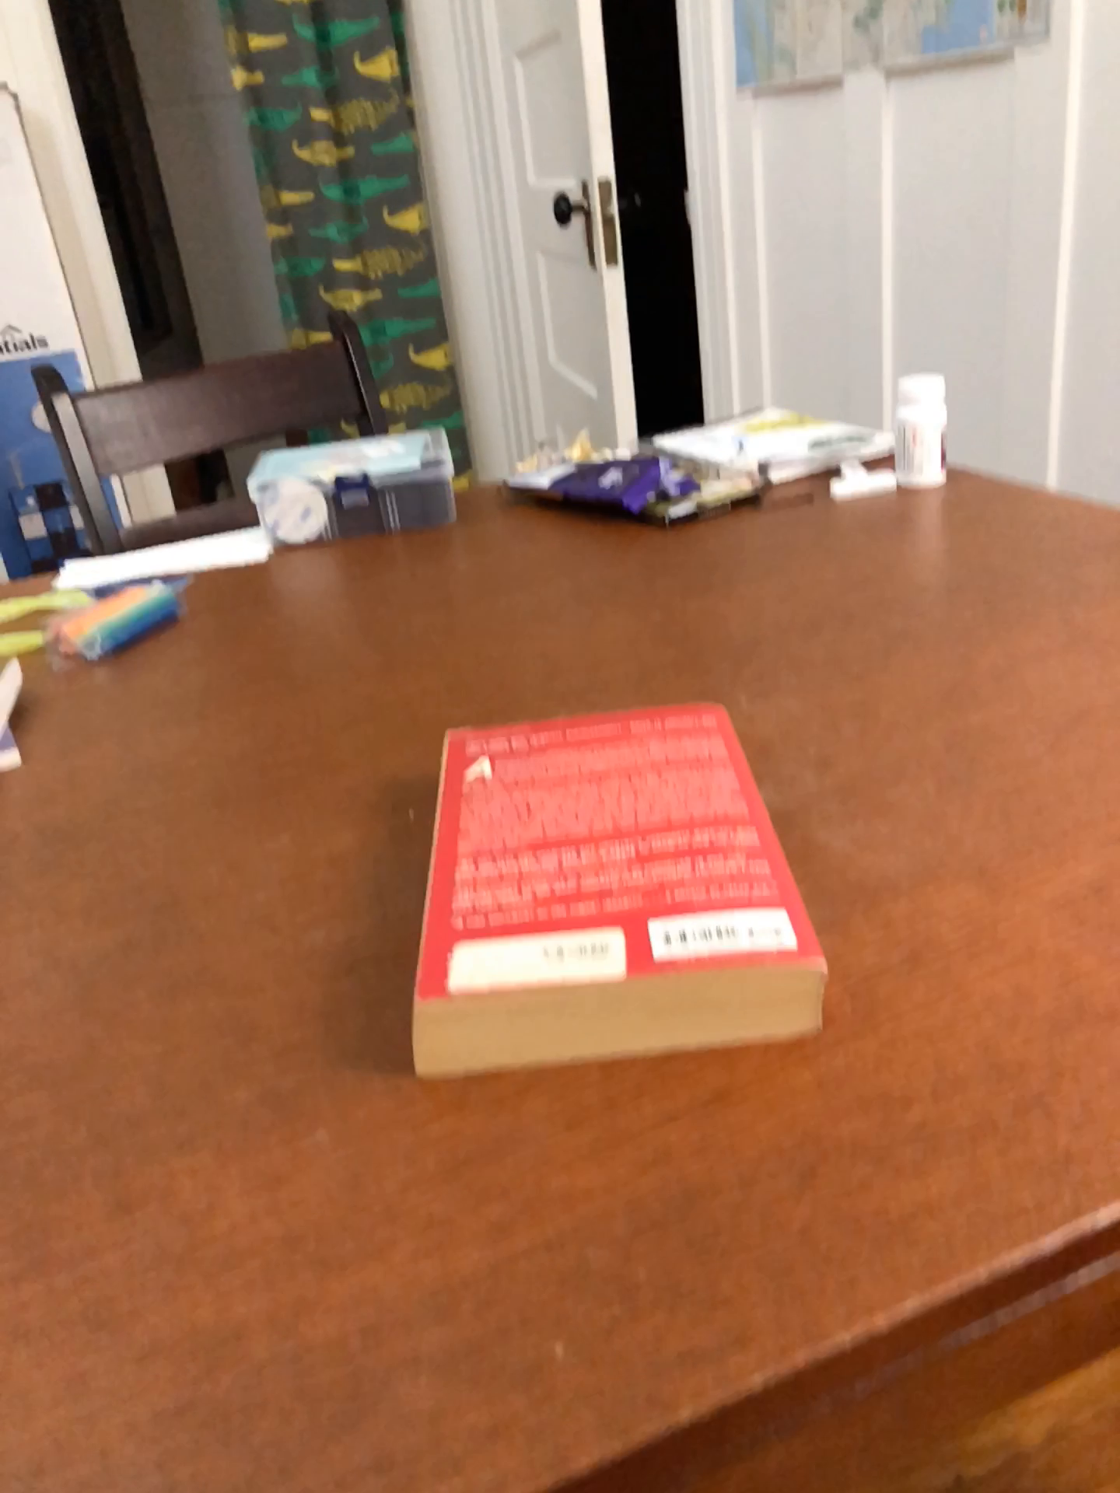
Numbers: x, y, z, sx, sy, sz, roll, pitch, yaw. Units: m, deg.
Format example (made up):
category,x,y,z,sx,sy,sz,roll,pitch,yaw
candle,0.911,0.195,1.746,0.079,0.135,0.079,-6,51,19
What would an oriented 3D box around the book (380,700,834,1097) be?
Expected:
category,x,y,z,sx,sy,sz,roll,pitch,yaw
book,0.012,0.045,0.479,0.140,0.030,0.211,-7,25,1
